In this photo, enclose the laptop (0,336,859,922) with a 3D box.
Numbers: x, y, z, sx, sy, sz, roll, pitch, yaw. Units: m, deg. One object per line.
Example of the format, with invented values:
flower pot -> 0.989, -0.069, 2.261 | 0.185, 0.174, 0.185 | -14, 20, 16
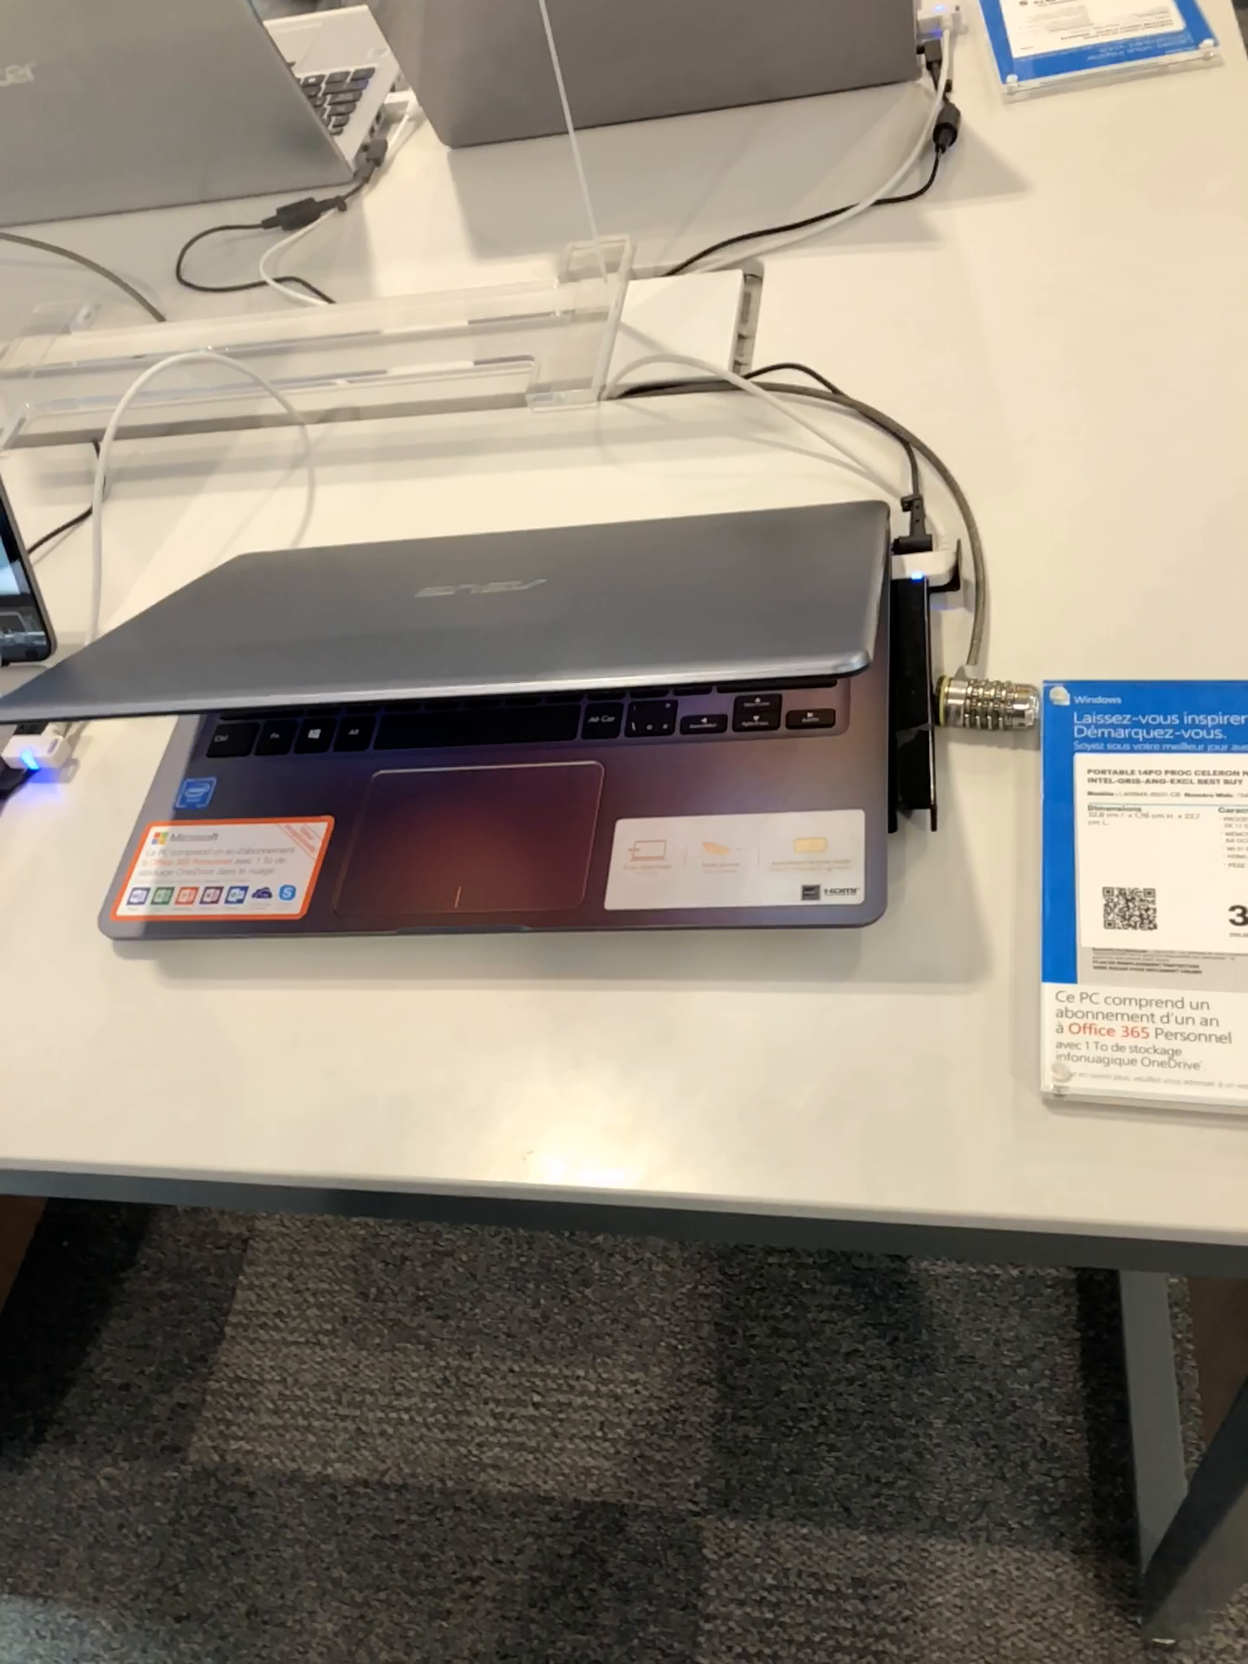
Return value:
laptop -> -0.062, -0.078, 0.540 | 0.300, 0.099, 0.201 | -2, 53, 13
